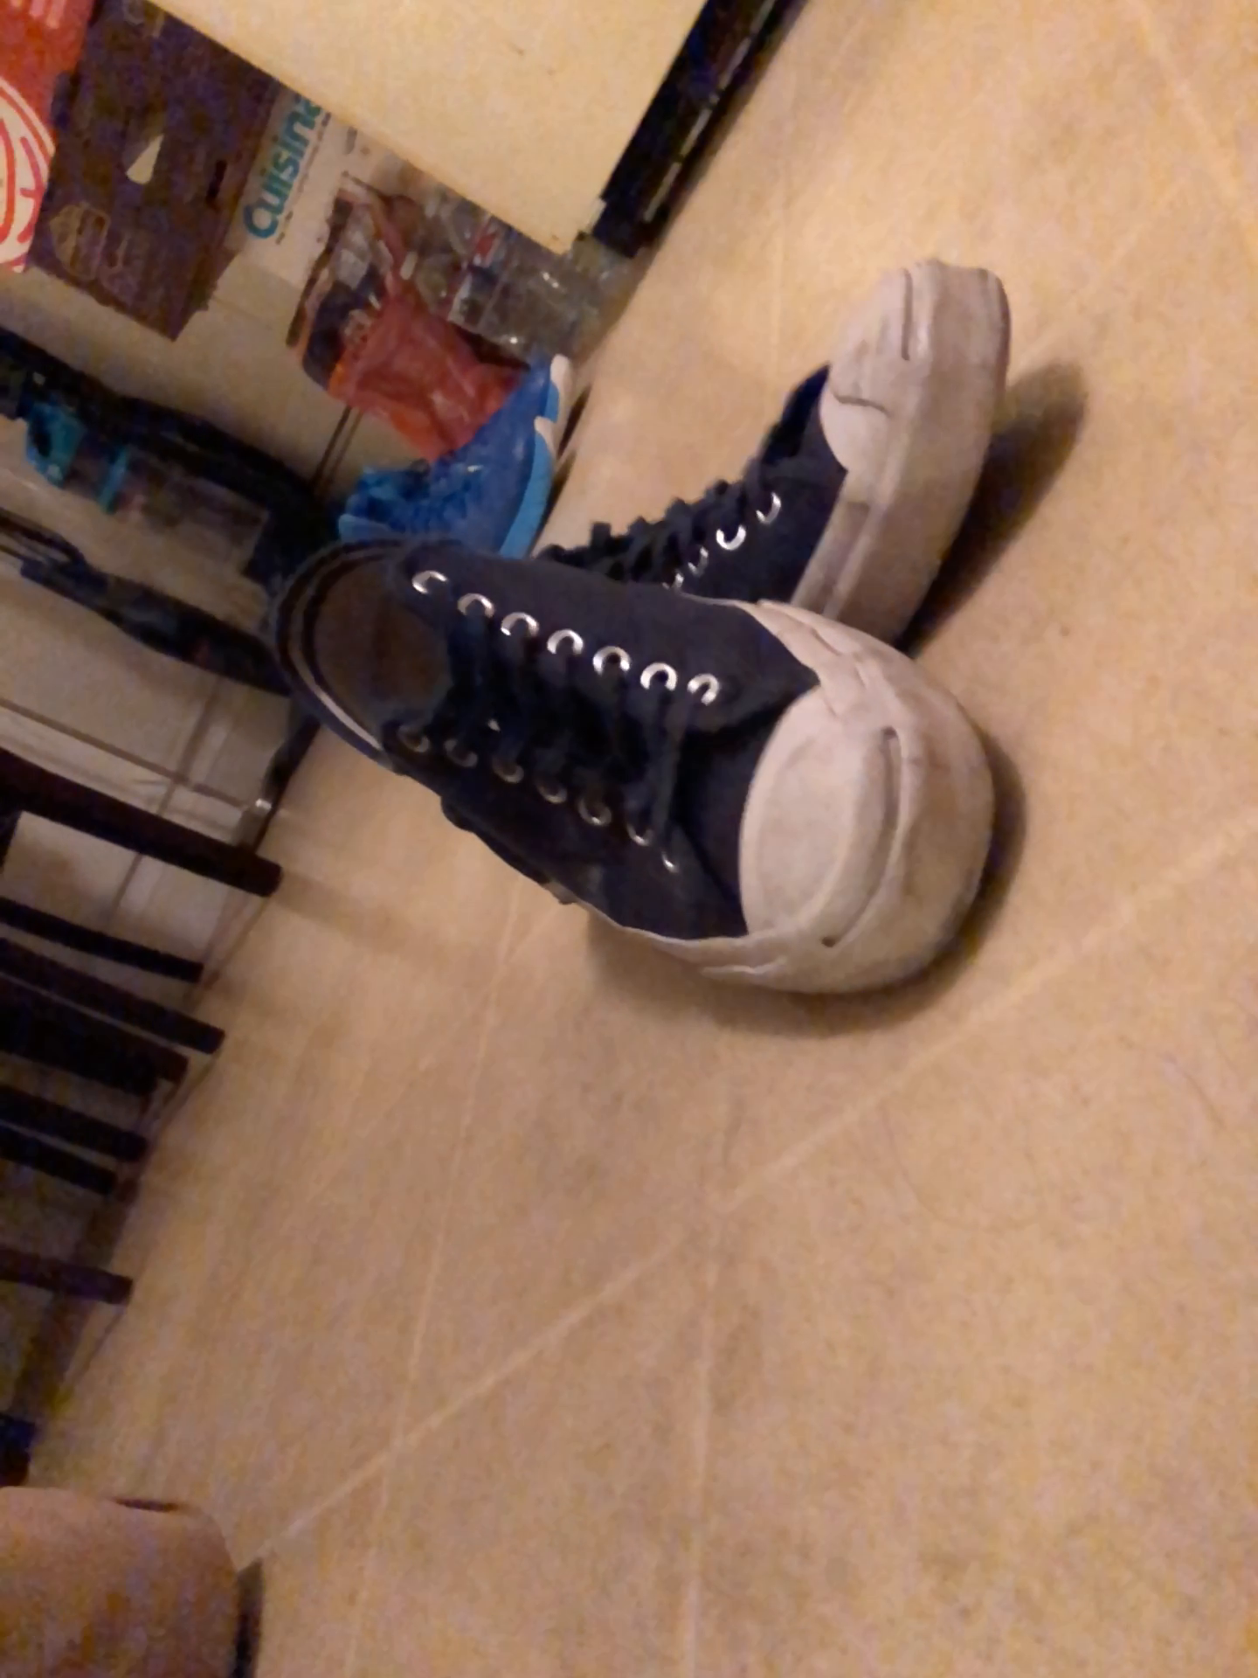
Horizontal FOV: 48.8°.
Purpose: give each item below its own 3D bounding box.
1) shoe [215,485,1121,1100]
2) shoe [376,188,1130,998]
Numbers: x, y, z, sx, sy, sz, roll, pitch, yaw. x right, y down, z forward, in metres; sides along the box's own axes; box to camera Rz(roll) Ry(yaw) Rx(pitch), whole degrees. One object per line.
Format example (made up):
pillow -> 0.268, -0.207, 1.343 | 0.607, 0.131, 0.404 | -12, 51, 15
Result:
shoe -> -0.018, -0.035, 0.418 | 0.292, 0.099, 0.100 | 26, 109, 50
shoe -> 0.024, -0.069, 0.498 | 0.290, 0.080, 0.110 | -41, 32, 37
